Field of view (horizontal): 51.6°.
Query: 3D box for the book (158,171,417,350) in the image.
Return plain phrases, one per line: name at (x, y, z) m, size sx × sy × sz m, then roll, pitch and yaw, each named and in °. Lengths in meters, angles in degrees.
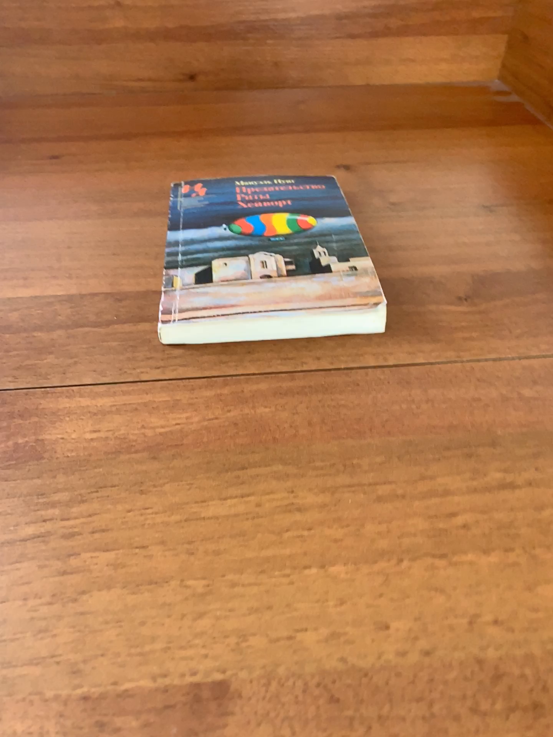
book at (-0.002, -0.071, 0.329) m, size 0.121 × 0.016 × 0.159 m, roll -3°, pitch 42°, yaw -5°
